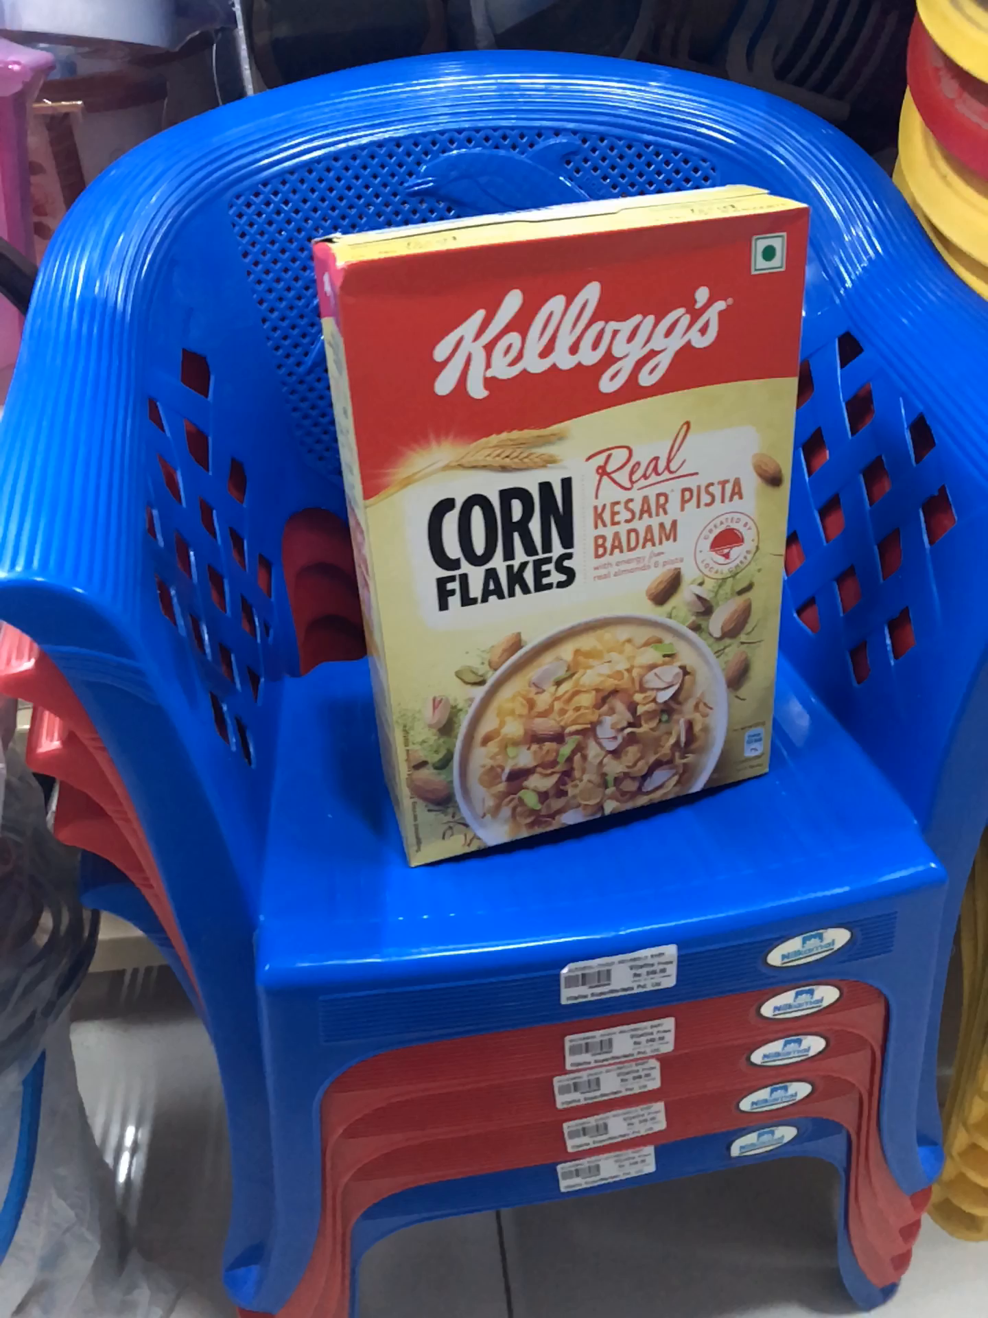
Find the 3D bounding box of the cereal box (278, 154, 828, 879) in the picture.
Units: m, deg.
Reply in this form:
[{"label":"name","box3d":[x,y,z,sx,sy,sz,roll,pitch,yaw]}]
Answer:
[{"label":"cereal box","box3d":[0.030,-0.057,0.469,0.190,0.269,0.070,-13,30,-14]}]
